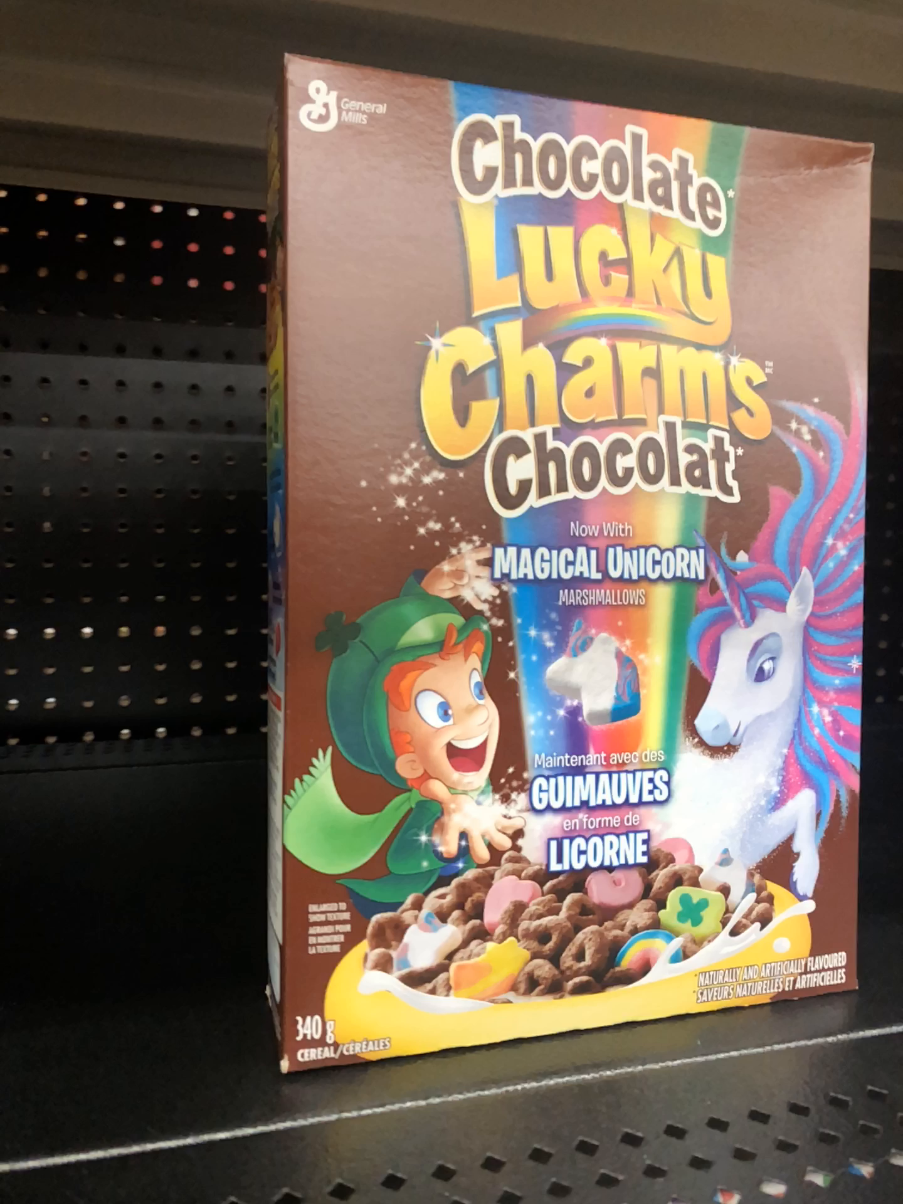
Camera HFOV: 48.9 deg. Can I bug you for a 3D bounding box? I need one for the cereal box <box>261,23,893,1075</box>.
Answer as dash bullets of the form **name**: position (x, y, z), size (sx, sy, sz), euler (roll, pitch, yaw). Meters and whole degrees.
- **cereal box**: position (0.041, -0.015, 0.330), size (0.200, 0.290, 0.060), euler (0, 1, -16)
